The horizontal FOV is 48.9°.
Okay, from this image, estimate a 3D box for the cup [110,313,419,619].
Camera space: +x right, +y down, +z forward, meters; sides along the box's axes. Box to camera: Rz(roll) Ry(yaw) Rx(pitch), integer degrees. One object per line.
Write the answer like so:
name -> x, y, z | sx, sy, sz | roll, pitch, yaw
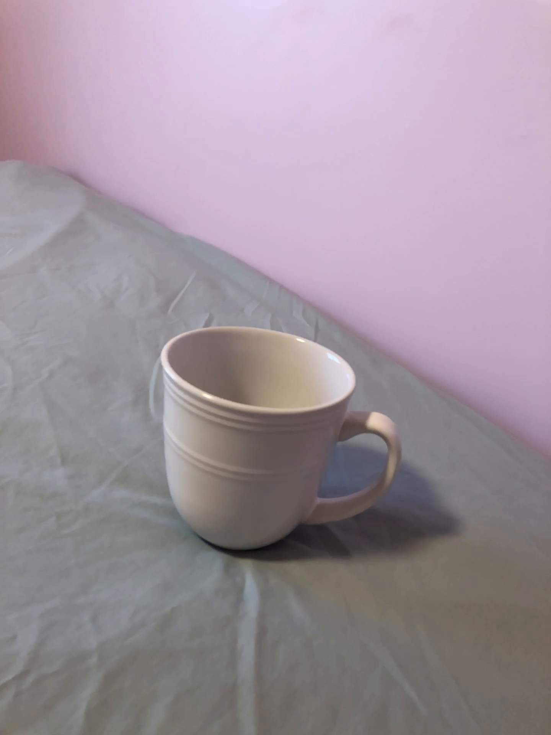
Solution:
cup -> -0.003, 0.045, 0.337 | 0.140, 0.100, 0.100 | 12, 25, 11
